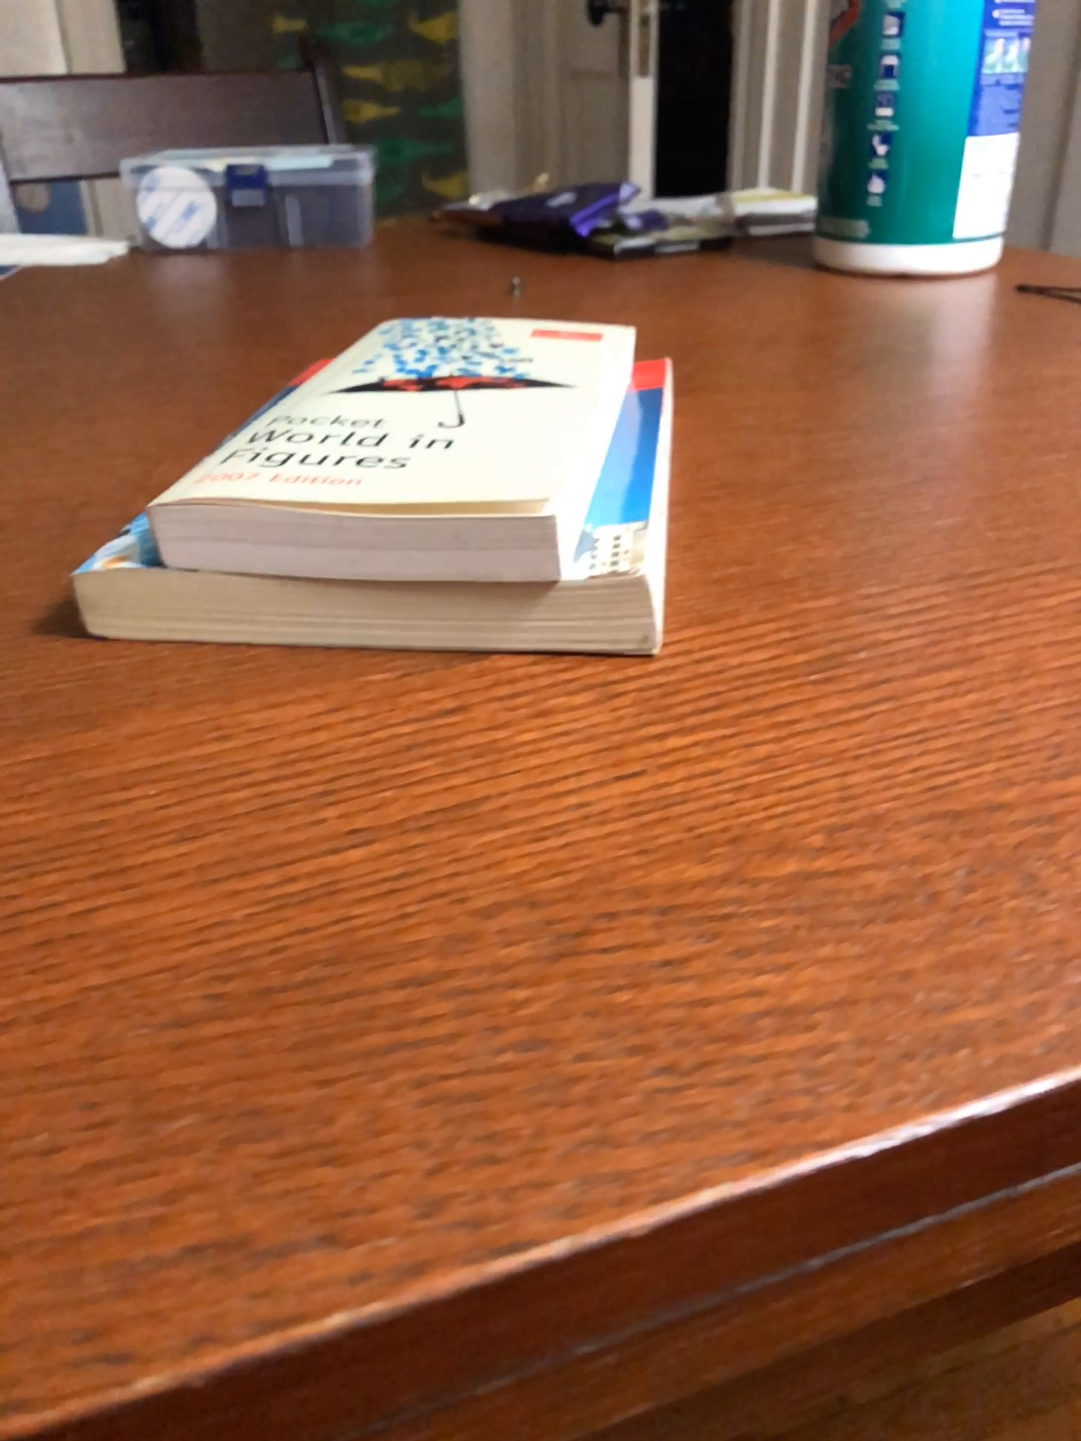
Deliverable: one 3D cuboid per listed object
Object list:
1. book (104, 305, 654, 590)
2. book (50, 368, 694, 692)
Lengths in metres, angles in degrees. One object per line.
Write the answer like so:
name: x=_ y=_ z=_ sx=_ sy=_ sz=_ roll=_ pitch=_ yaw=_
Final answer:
book: x=-0.026 y=-0.087 z=0.336 sx=0.100 sy=0.020 sz=0.201 roll=4 pitch=29 yaw=8
book: x=-0.026 y=-0.069 z=0.354 sx=0.140 sy=0.020 sz=0.211 roll=2 pitch=29 yaw=6
